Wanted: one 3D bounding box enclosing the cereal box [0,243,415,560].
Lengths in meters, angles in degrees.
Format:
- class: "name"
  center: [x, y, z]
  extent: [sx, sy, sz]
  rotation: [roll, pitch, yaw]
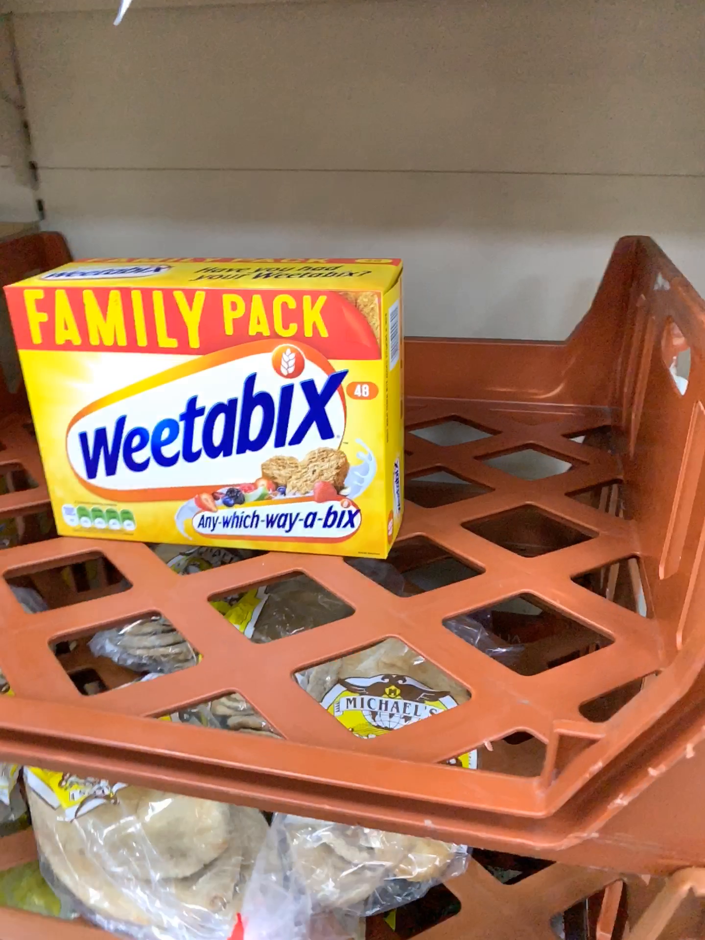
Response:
- class: "cereal box"
  center: [-0.092, -0.054, 0.511]
  extent: [0.260, 0.188, 0.101]
  rotation: [3, 26, 9]
